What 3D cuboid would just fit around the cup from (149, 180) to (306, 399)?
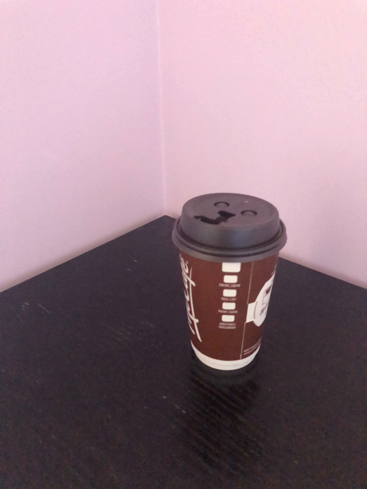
[{"bbox_3d":[0.038,0.032,0.344,0.090,0.139,0.090,-1,29,1],"label":"cup"}]
